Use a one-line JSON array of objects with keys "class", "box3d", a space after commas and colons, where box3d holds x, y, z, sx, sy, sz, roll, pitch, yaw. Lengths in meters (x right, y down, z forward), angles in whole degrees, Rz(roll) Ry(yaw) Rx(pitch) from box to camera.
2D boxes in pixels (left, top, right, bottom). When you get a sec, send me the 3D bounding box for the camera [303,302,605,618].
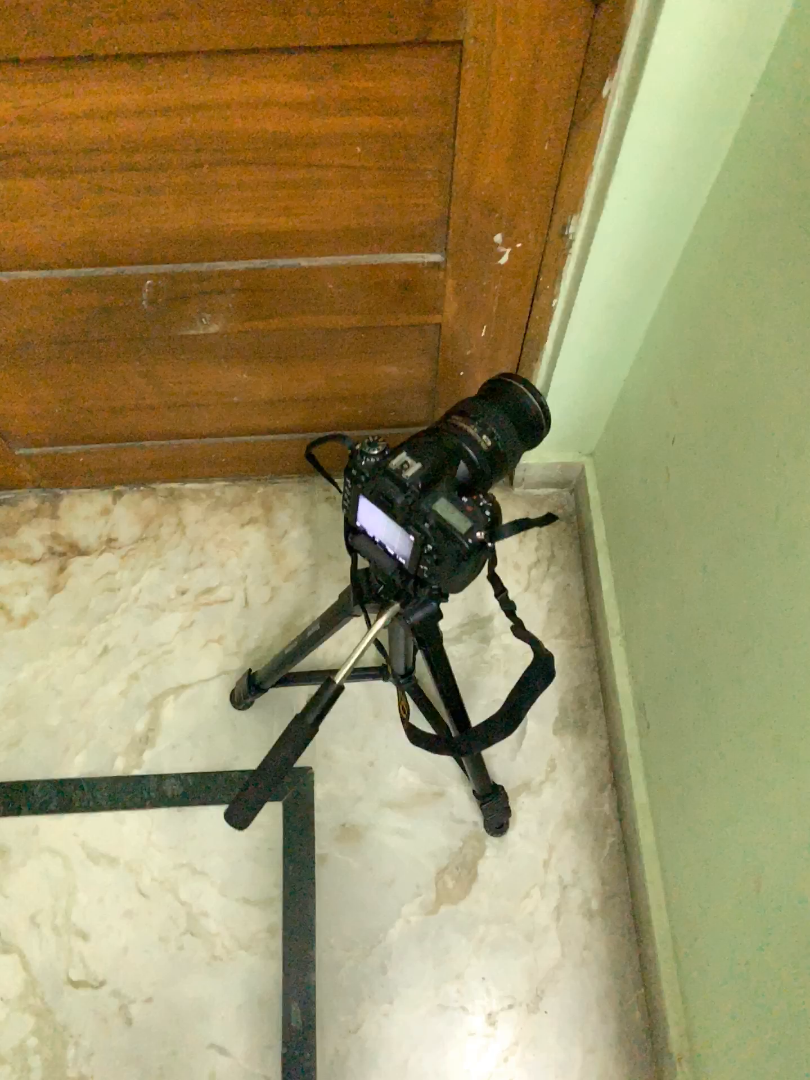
[{"class": "camera", "box3d": [0.042, -0.072, 0.751, 0.175, 0.128, 0.189, 37, 71, 15]}]
